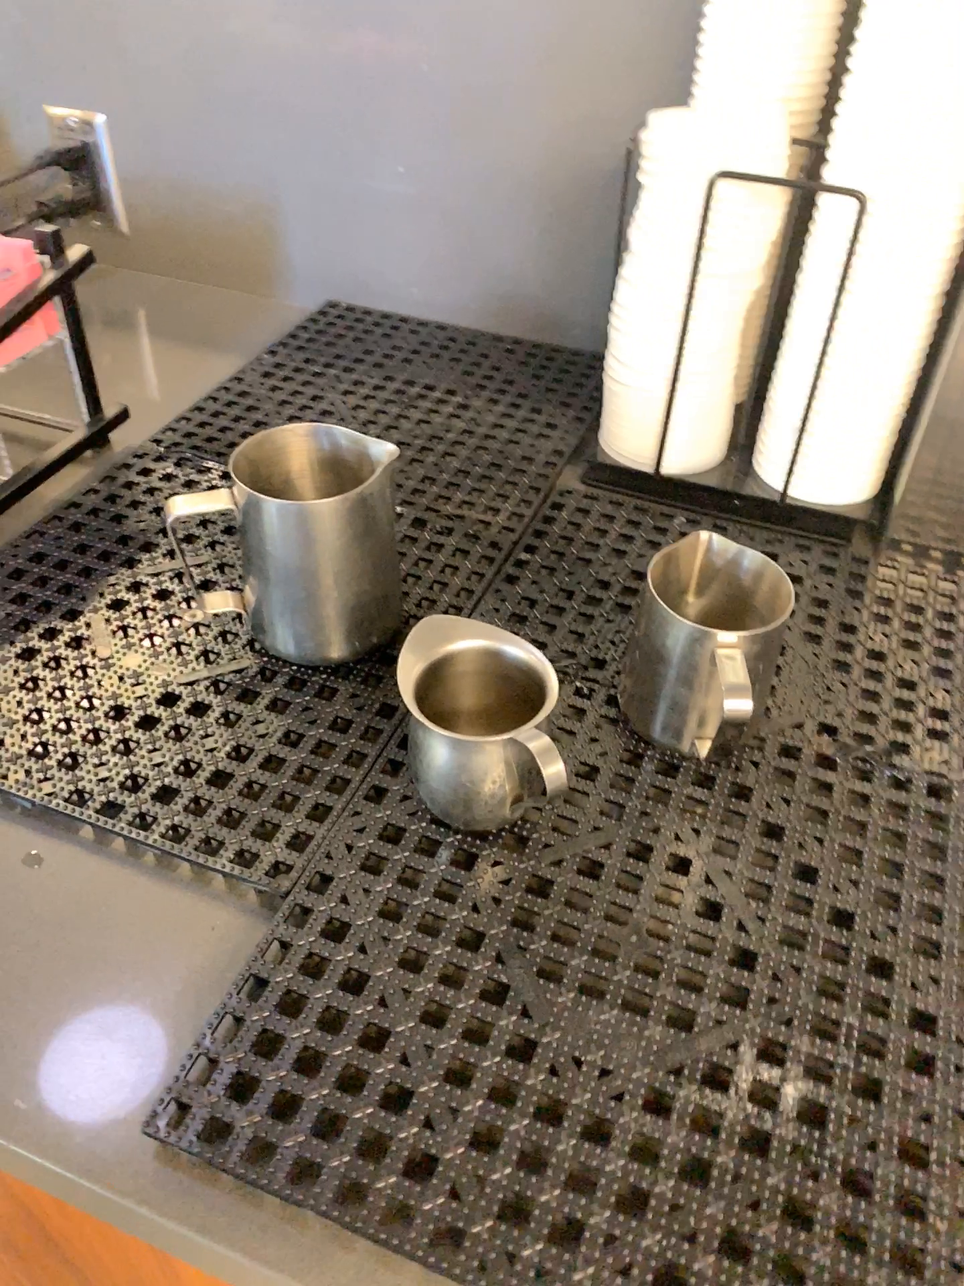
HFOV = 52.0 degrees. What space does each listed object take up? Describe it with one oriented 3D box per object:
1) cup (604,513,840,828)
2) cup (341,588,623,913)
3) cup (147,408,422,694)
[{"bbox_3d":[0.106,0.009,0.475,0.080,0.080,0.131,3,41,1],"label":"cup"},{"bbox_3d":[-0.004,0.043,0.441,0.070,0.070,0.111,-22,47,-26],"label":"cup"},{"bbox_3d":[-0.100,-0.049,0.521,0.120,0.109,0.070,-13,43,-17],"label":"cup"}]
